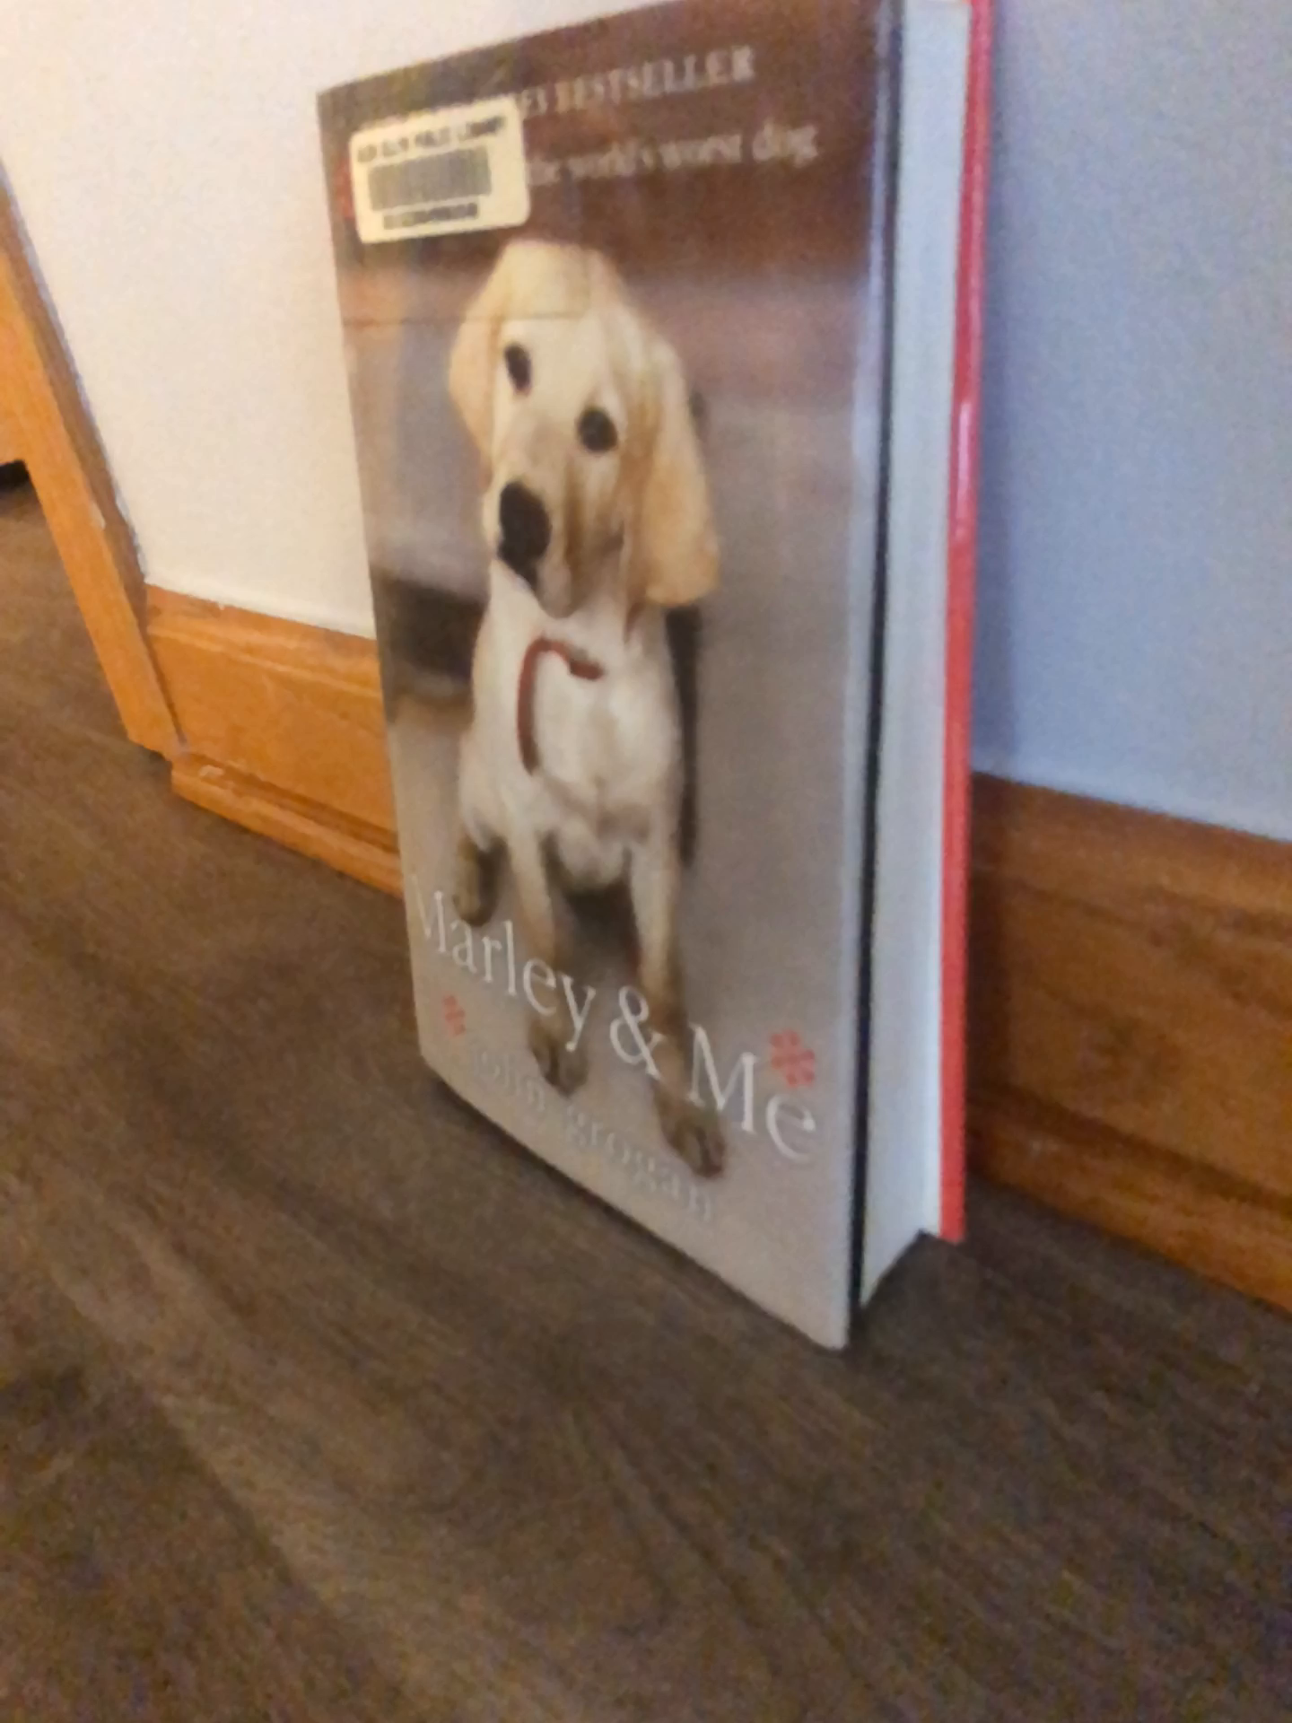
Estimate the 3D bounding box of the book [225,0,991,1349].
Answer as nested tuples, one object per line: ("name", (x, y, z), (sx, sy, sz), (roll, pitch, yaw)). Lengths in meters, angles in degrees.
("book", (-0.011, -0.040, 0.276), (0.040, 0.219, 0.151), (-21, 27, -37))
